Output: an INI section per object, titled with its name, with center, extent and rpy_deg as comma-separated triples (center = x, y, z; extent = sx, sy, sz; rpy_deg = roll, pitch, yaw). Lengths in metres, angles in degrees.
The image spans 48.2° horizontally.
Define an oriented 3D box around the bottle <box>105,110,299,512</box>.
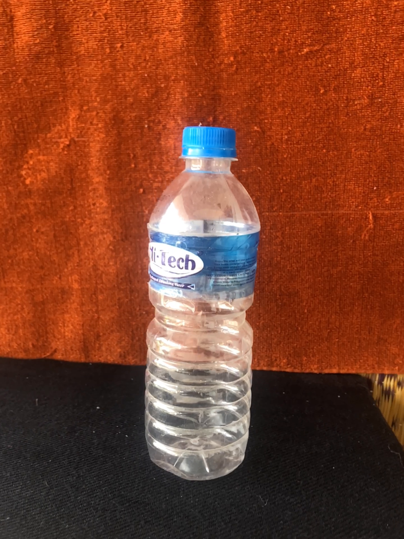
[bottle]
center = -0.001, 0.016, 0.251
extent = 0.070, 0.189, 0.070
rpy_deg = 1, 13, 0
